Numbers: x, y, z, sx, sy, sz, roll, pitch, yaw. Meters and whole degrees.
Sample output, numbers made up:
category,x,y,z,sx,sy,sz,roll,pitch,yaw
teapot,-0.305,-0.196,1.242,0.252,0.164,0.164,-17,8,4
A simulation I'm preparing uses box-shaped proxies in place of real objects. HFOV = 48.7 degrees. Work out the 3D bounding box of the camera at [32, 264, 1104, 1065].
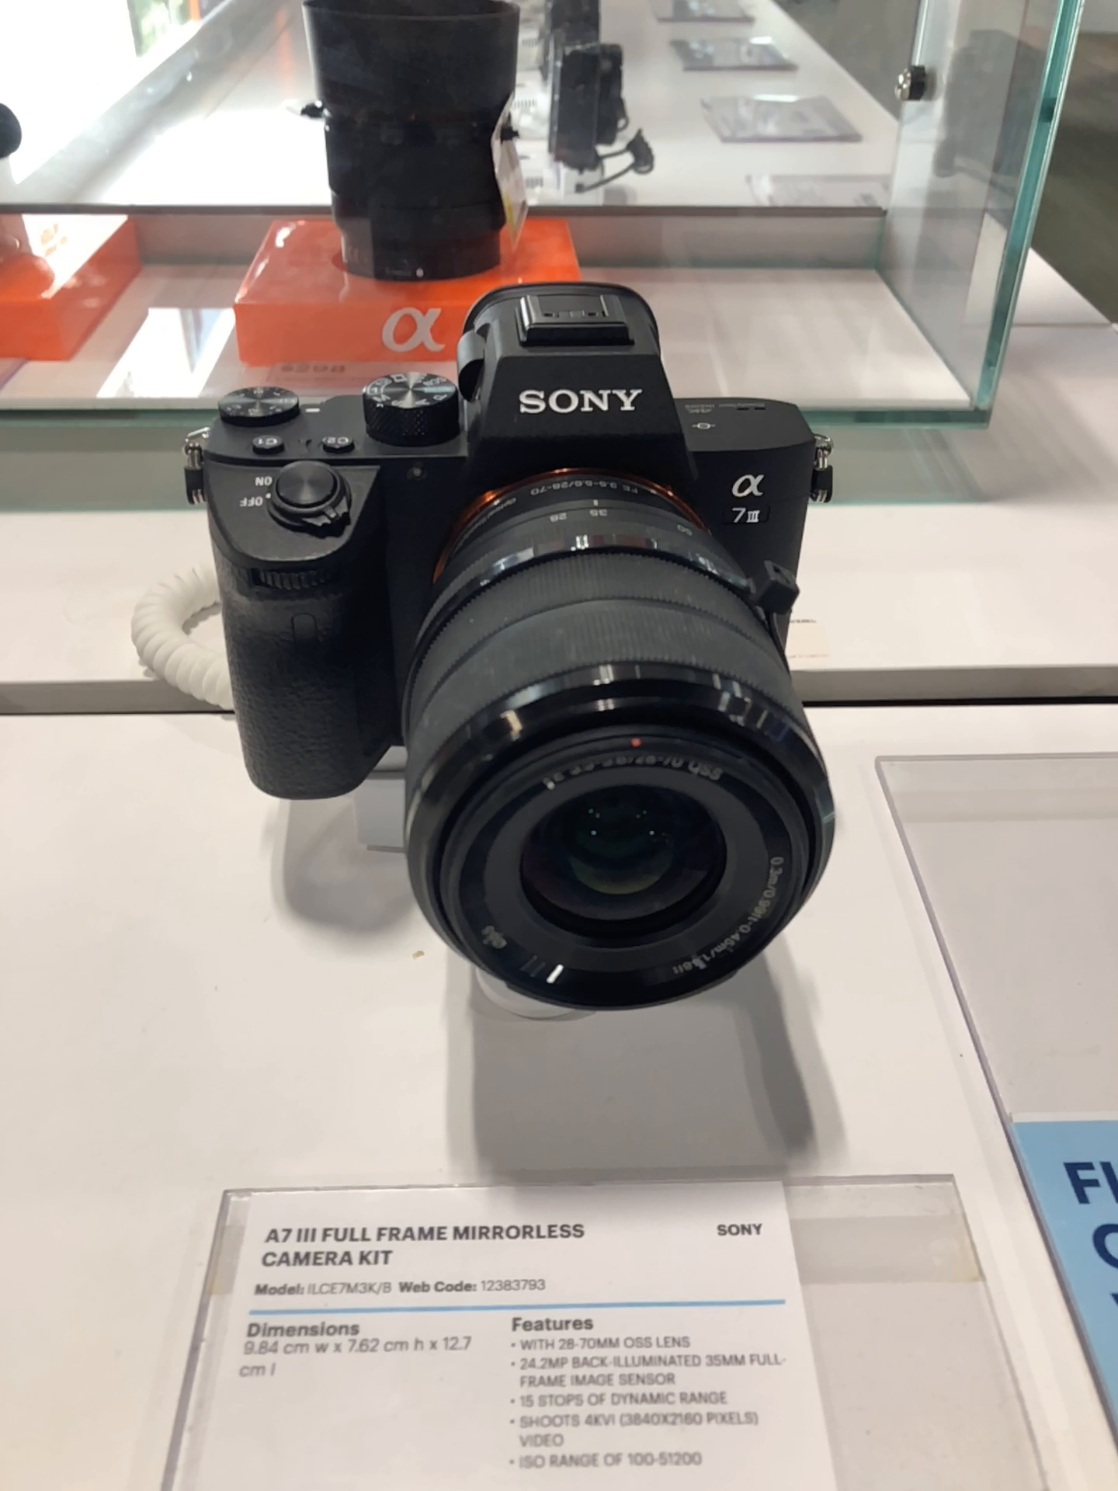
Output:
category,x,y,z,sx,sy,sz,roll,pitch,yaw
camera,-0.003,-0.030,0.249,0.140,0.079,0.161,-2,38,-3
